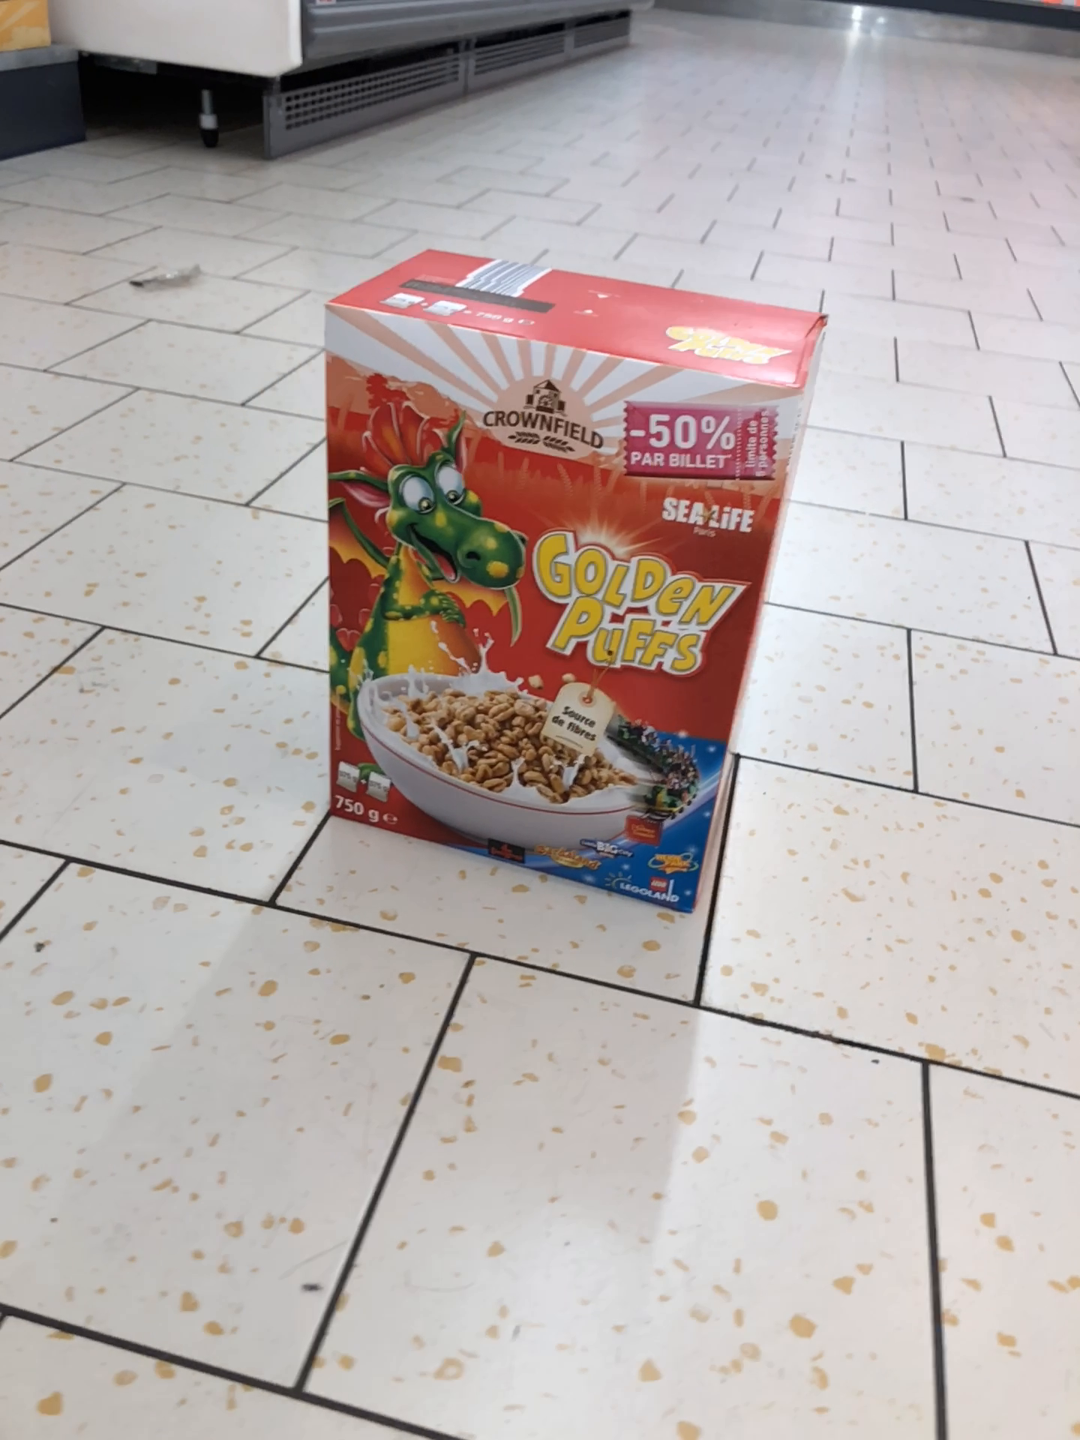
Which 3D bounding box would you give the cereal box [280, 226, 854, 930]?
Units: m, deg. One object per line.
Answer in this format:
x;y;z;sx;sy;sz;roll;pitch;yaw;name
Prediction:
0.009;-0.069;0.544;0.200;0.248;0.141;14;33;12;cereal box
